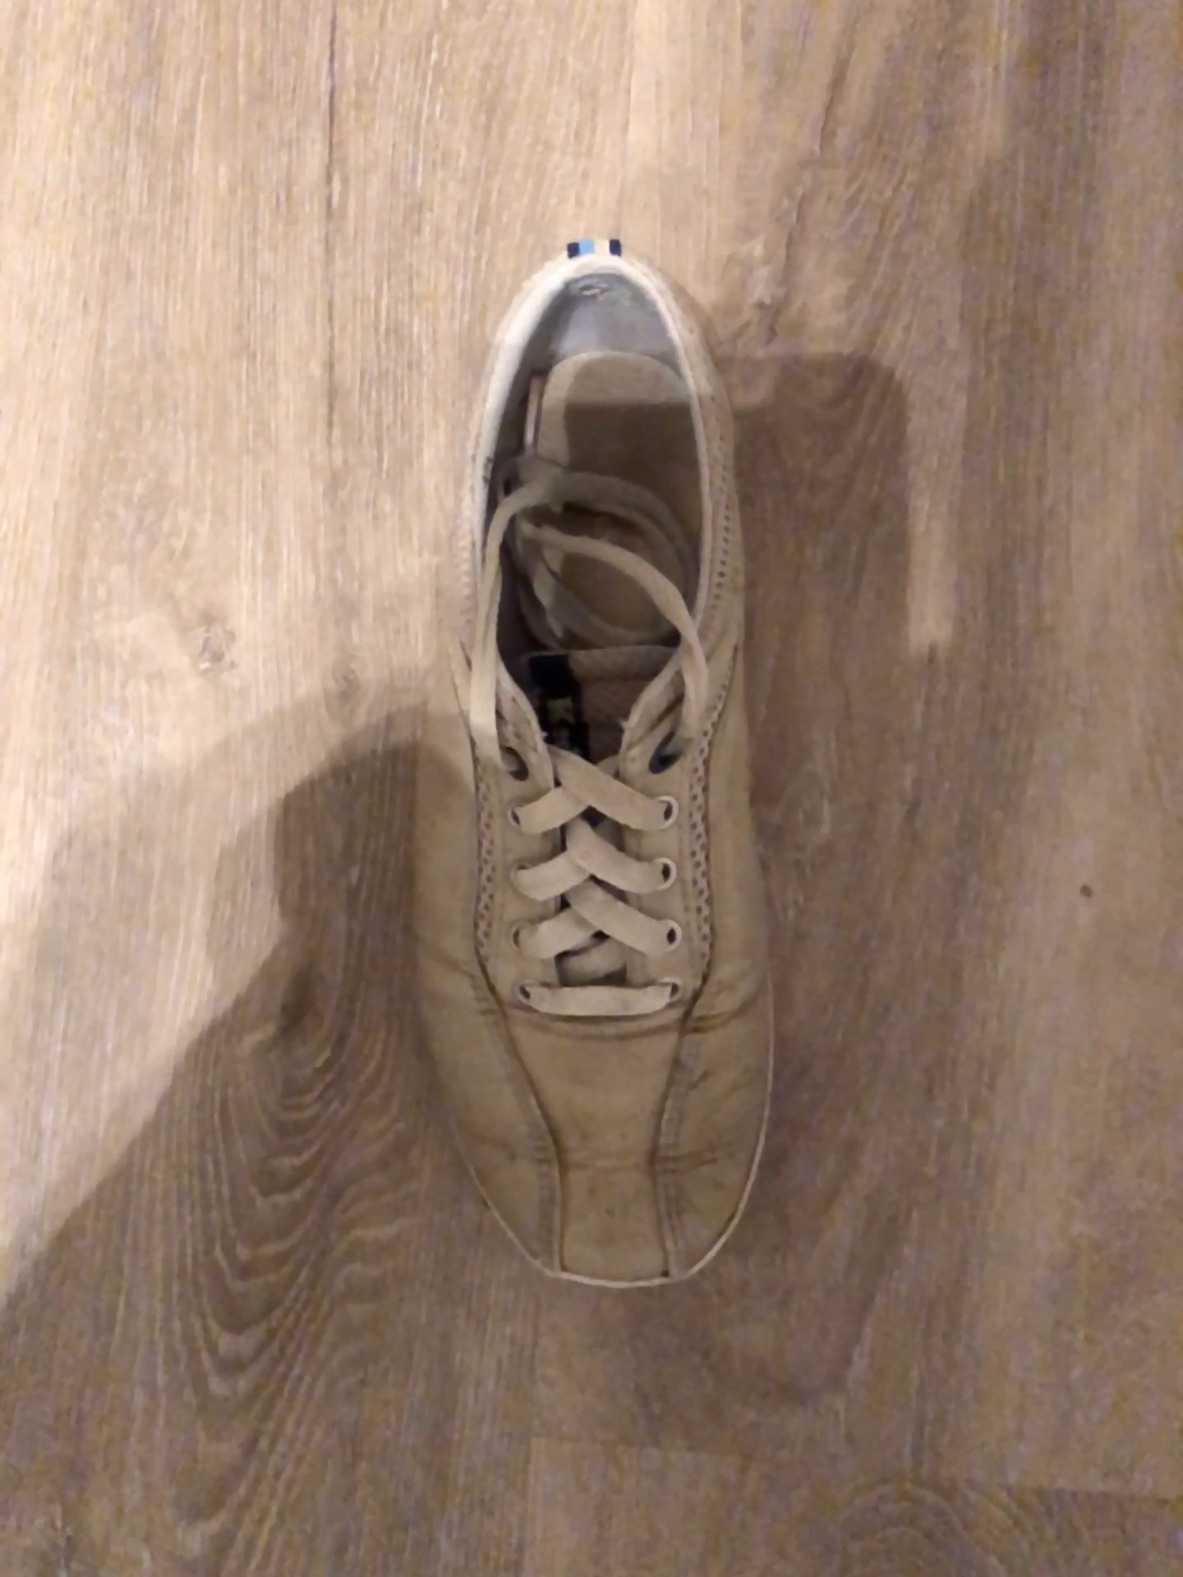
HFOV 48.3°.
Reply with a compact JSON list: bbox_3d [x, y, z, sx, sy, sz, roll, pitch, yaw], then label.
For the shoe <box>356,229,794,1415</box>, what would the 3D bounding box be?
[{"bbox_3d":[-0.001,0.005,0.315,0.090,0.070,0.250,0,85,3],"label":"shoe"}]
